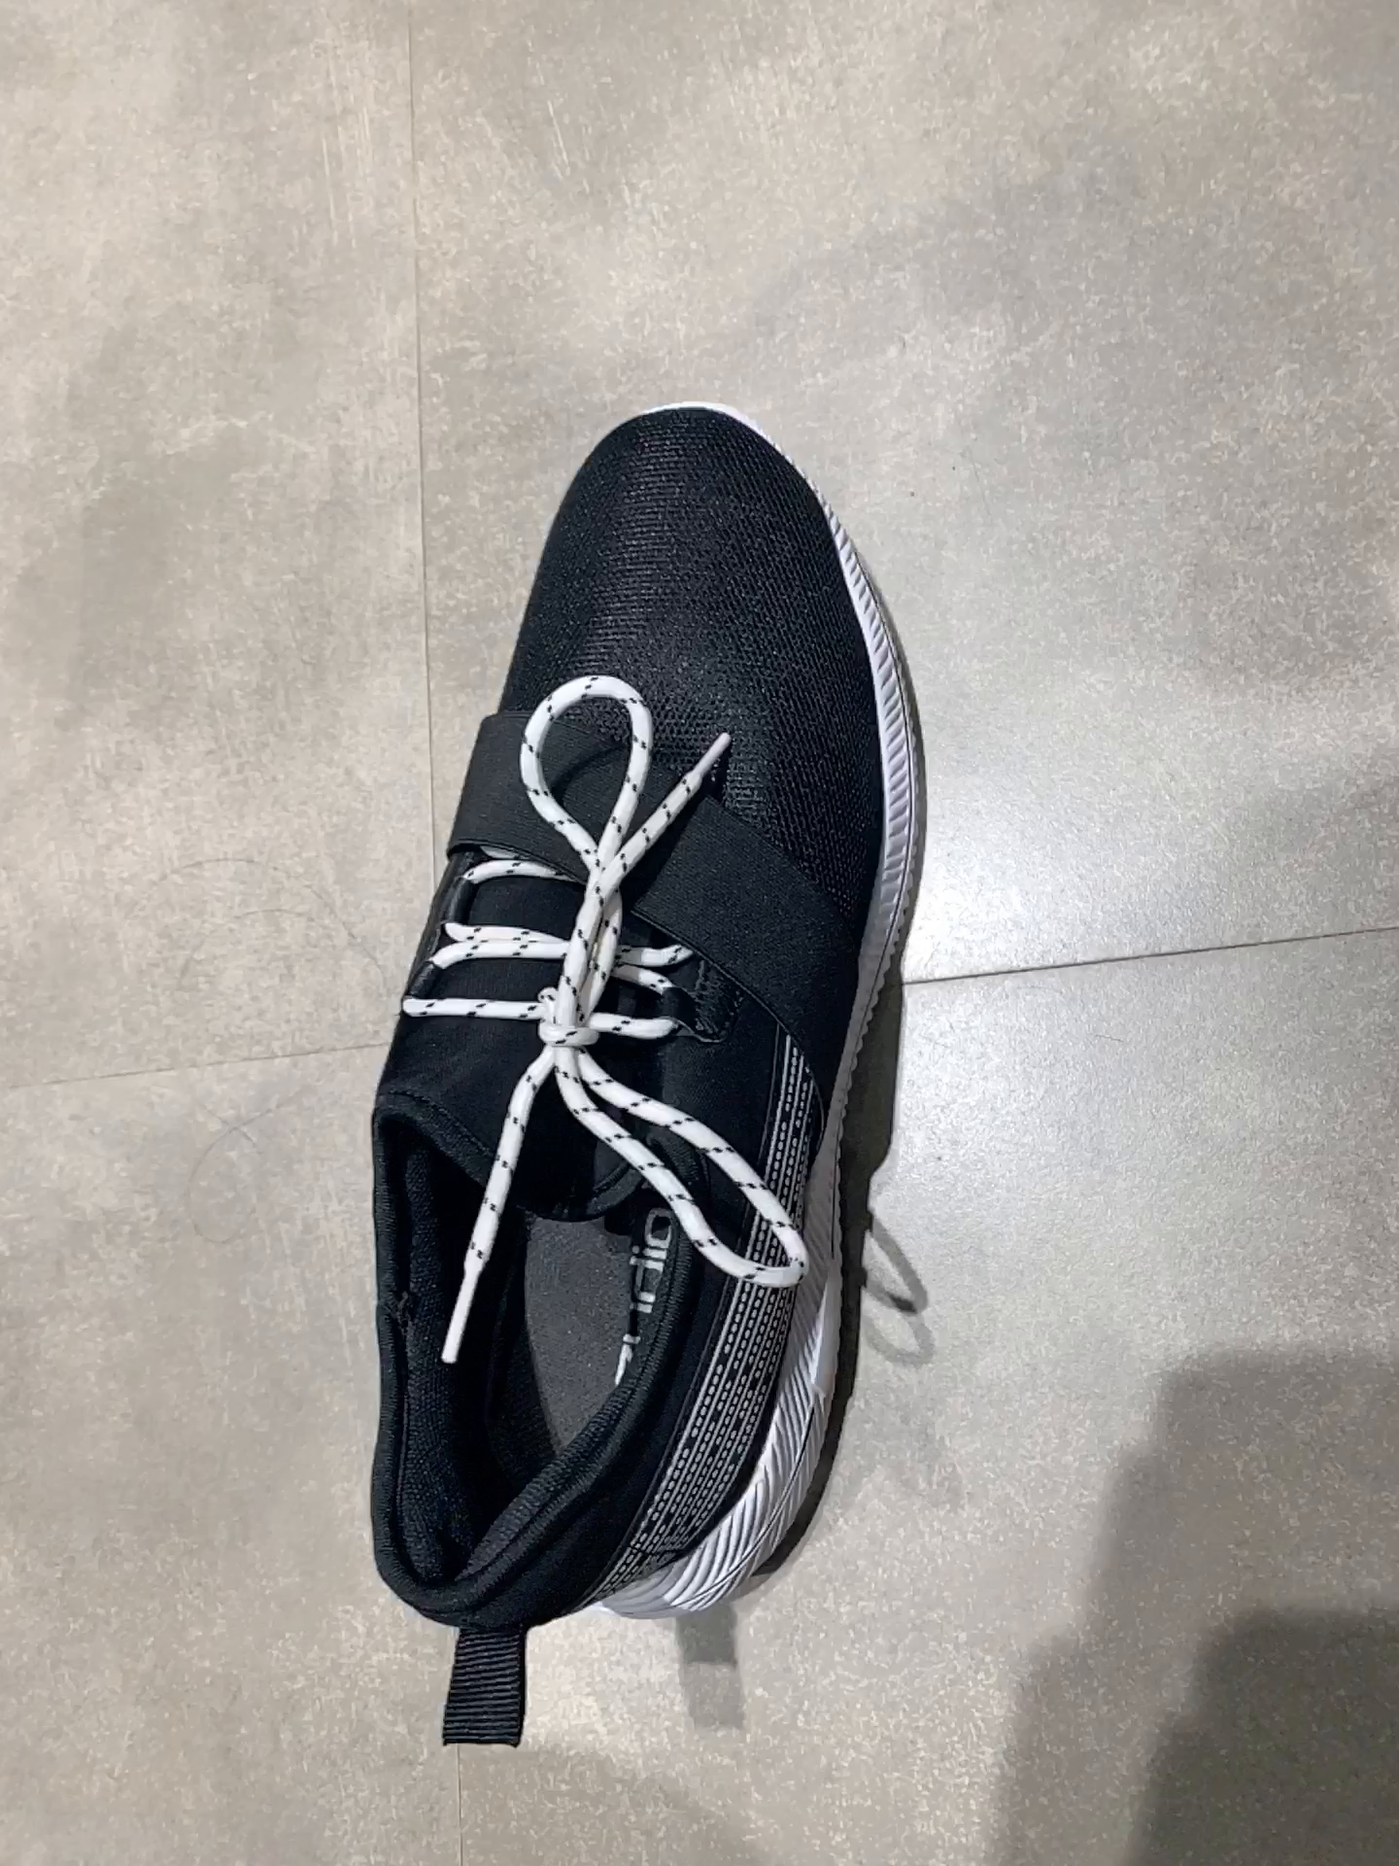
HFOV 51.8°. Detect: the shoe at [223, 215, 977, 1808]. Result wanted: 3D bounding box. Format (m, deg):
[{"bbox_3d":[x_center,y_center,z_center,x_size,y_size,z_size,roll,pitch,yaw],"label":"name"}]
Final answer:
[{"bbox_3d":[-0.005,0.011,0.351,0.116,0.132,0.304,2,79,17],"label":"shoe"}]
